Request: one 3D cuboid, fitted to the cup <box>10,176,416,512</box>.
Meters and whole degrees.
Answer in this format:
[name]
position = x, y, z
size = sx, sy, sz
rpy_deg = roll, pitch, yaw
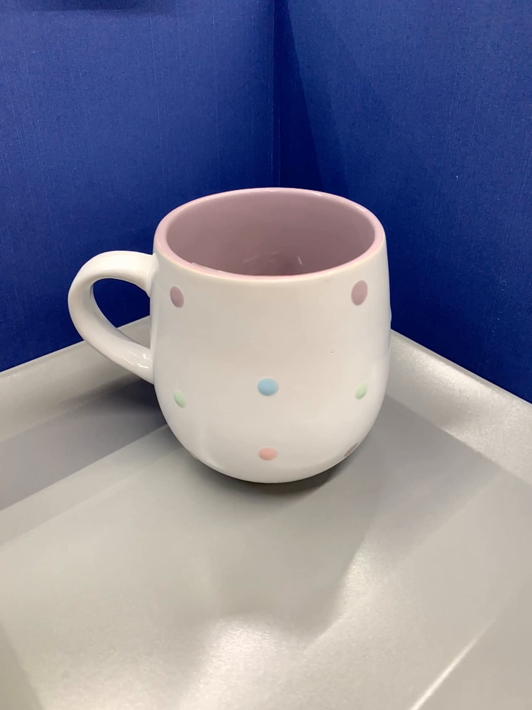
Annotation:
[cup]
position = -0.011, -0.014, 0.235
size = 0.130, 0.088, 0.097
rpy_deg = 8, 34, 12
